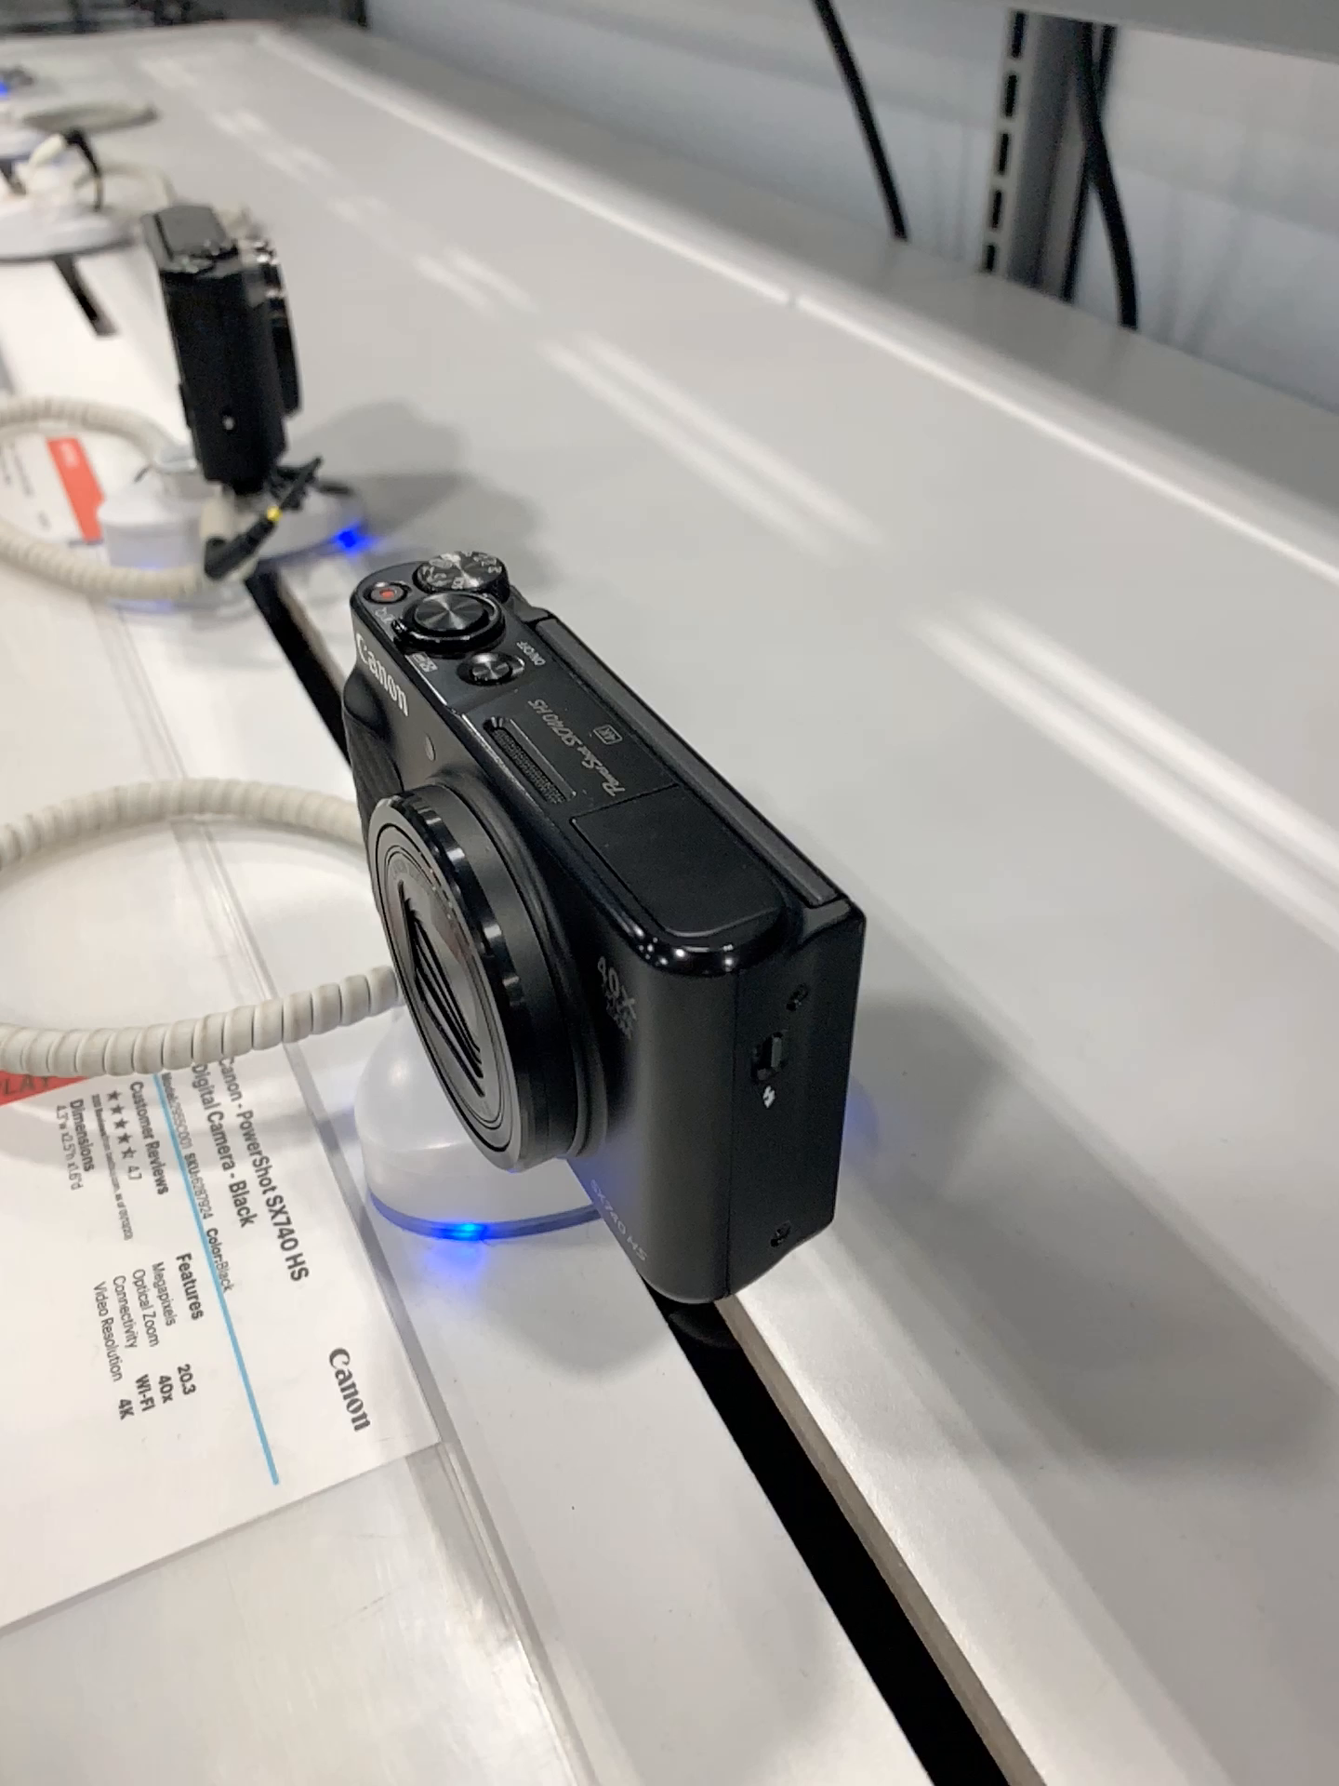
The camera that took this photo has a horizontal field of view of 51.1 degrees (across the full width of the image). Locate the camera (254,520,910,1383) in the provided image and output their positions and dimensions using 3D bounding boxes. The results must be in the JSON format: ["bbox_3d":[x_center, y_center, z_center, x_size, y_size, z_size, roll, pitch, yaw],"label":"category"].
[{"bbox_3d":[-0.020,0.000,0.212,0.041,0.063,0.121,-19,42,-22],"label":"camera"}]
